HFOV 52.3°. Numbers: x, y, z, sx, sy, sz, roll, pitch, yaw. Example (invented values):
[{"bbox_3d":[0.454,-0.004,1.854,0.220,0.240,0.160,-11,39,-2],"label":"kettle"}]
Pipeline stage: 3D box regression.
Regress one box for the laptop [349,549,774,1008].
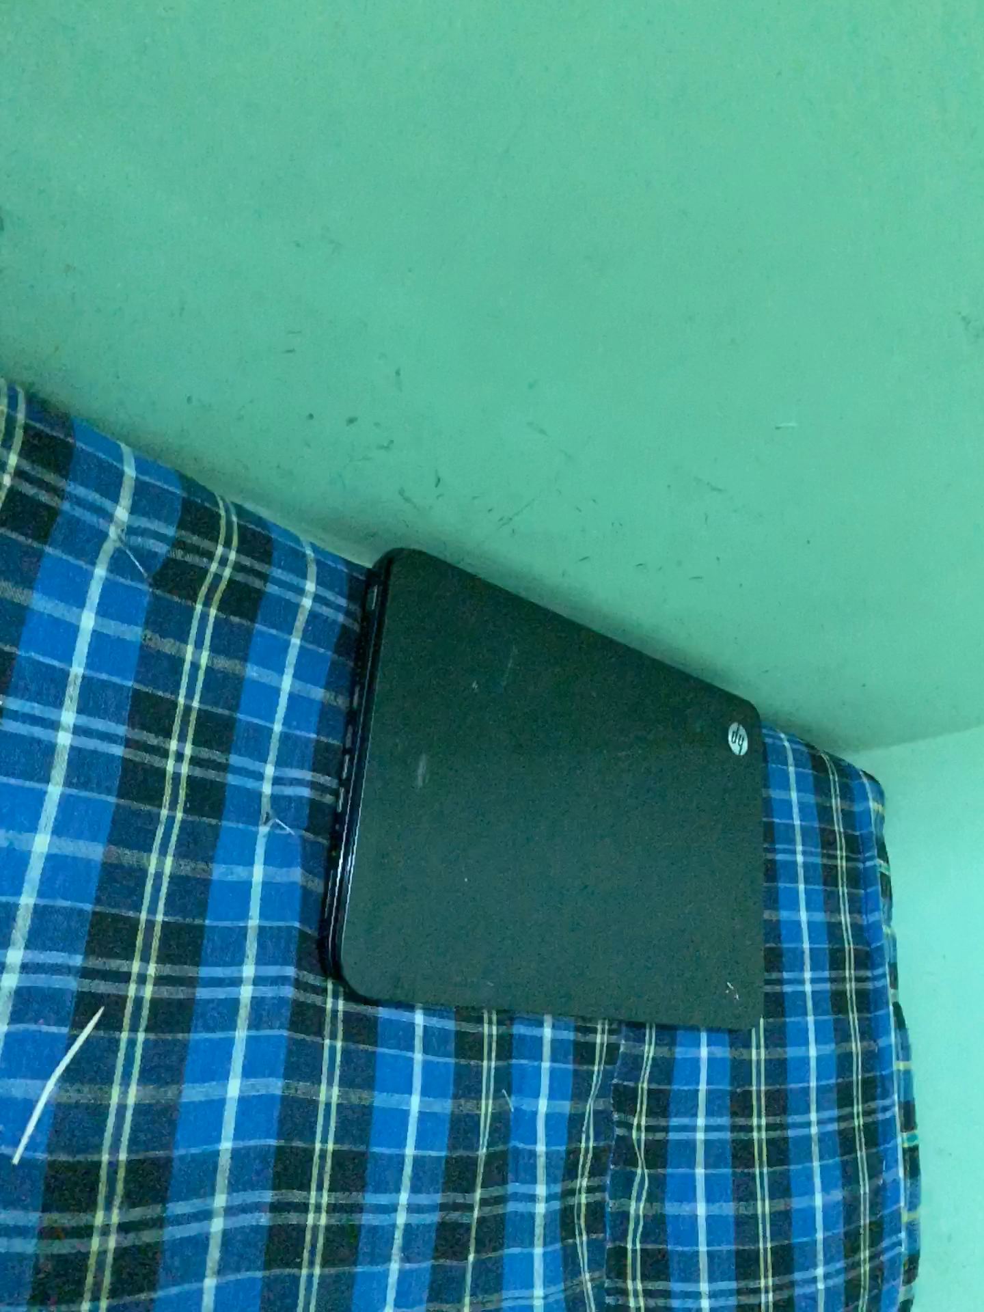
[{"bbox_3d":[0.072,0.095,0.615,0.348,0.018,0.217,21,66,-40],"label":"laptop"}]
